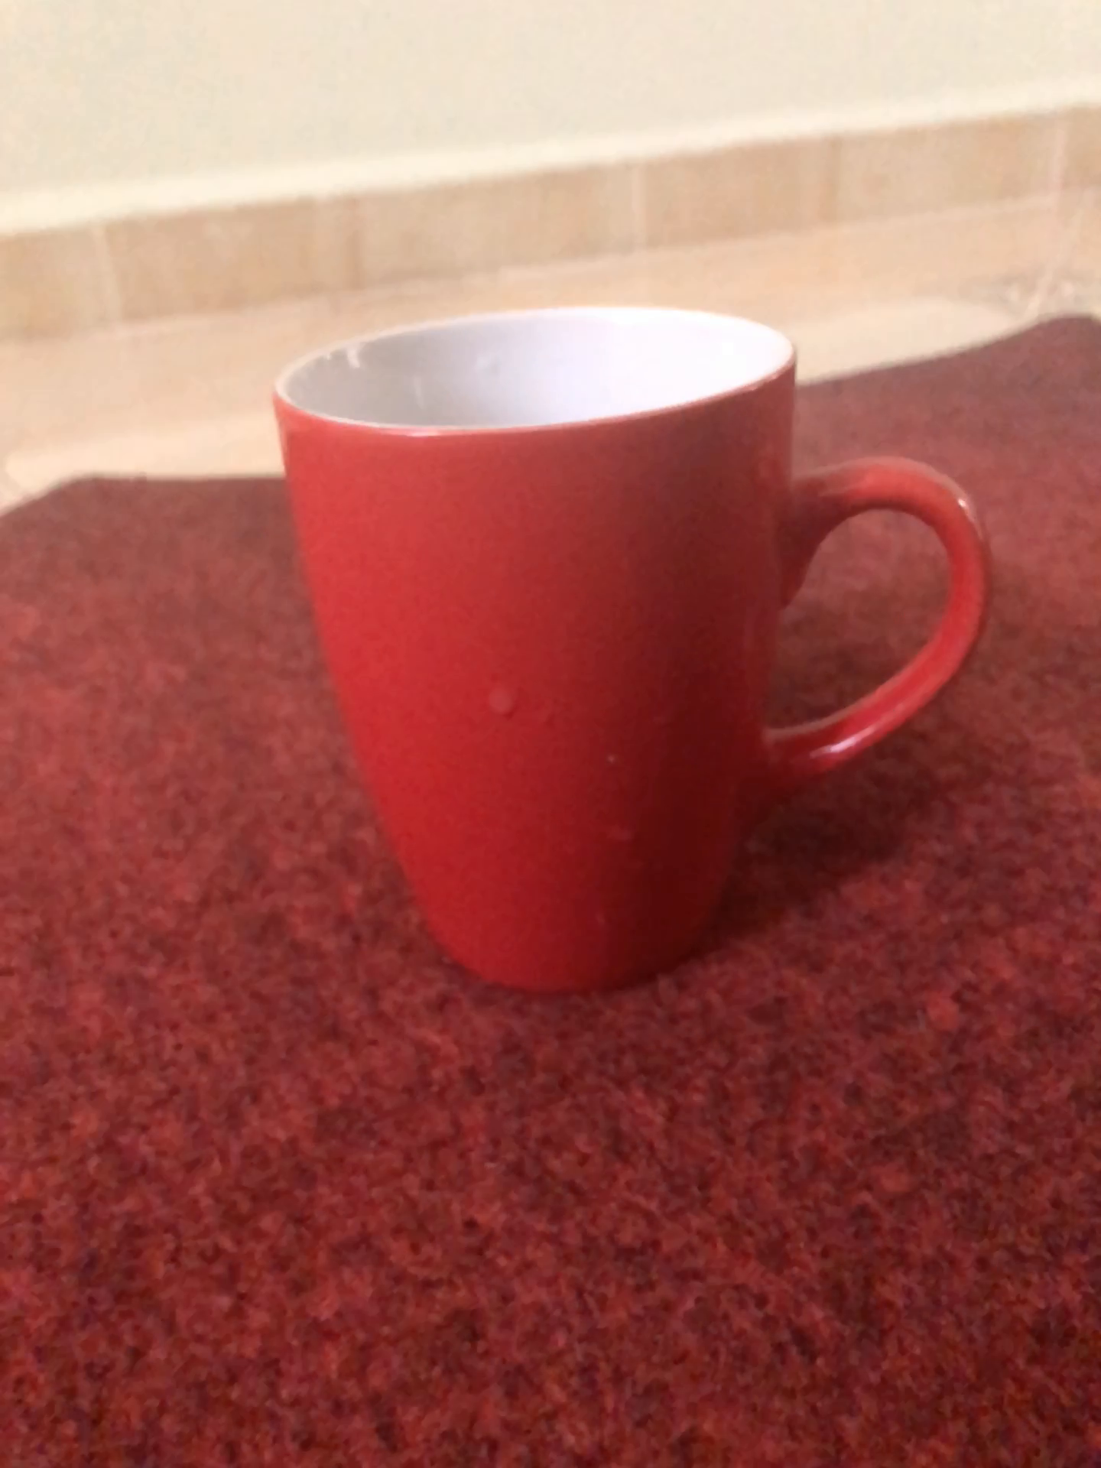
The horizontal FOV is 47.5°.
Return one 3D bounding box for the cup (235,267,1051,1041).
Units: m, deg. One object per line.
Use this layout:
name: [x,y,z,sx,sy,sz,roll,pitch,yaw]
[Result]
cup: [0.011,-0.020,0.218,0.109,0.094,0.078,-11,29,-11]
